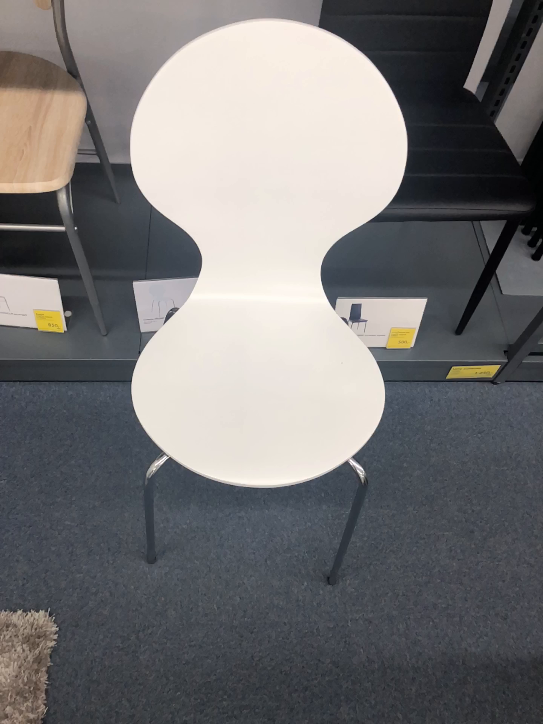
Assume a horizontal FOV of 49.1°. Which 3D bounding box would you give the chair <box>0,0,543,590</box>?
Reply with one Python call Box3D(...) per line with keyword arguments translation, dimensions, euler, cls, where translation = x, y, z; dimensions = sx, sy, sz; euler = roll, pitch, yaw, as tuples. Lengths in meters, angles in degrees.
Box3D(translation=(-0.024, -0.029, 1.071), dimensions=(0.560, 0.818, 0.642), euler=(6, 58, -3), cls="chair")
